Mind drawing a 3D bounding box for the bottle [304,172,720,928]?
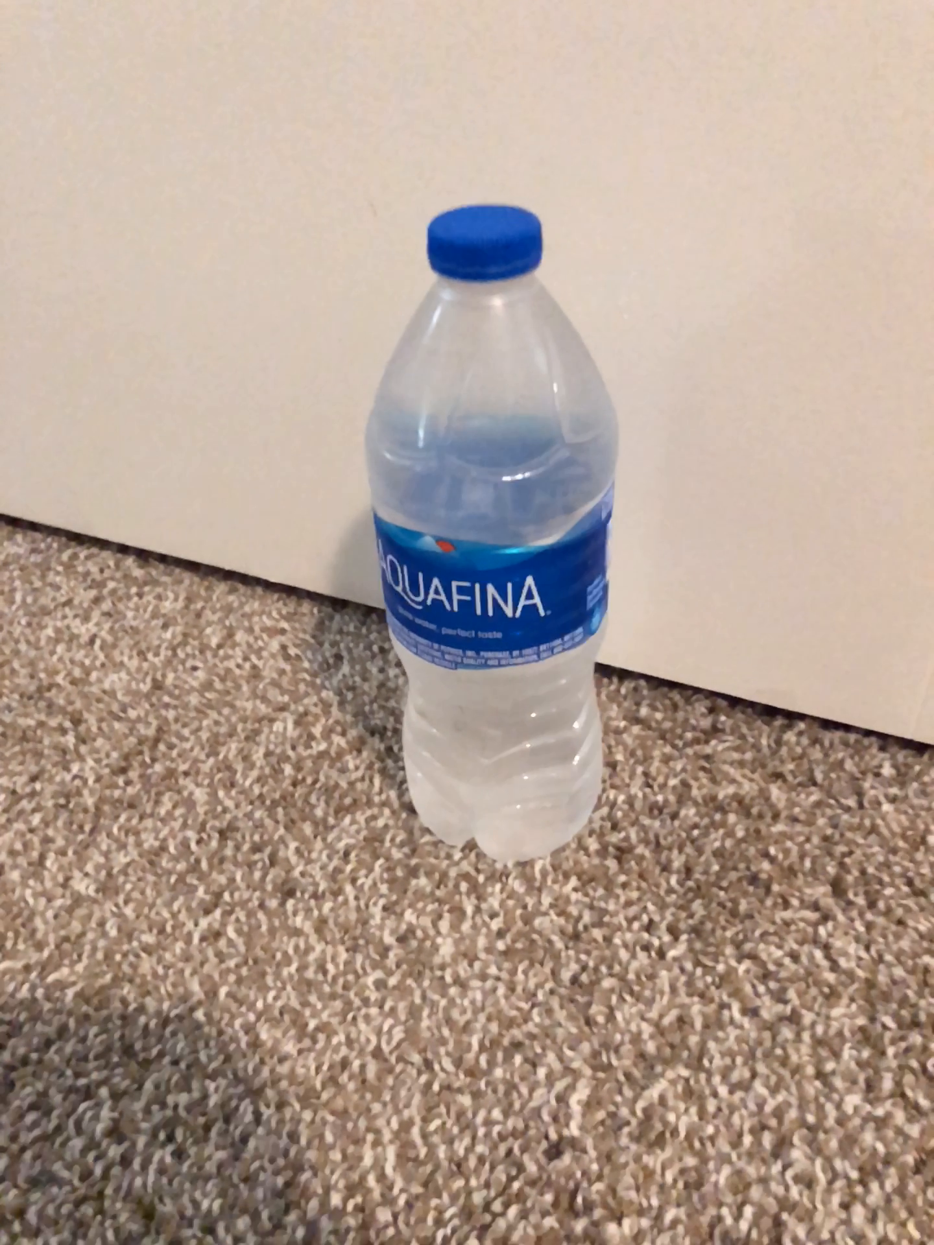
[{"bbox_3d":[0.015,-0.013,0.290,0.070,0.189,0.070,-1,37,1],"label":"bottle"}]
